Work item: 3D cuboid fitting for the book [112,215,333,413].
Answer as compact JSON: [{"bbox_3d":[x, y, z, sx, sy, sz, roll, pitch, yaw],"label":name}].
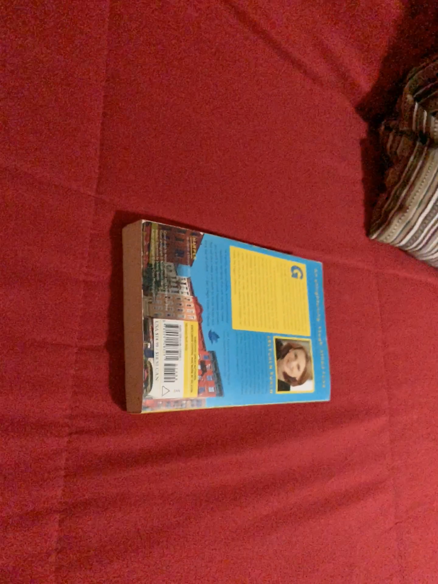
[{"bbox_3d":[0.014,0.027,0.374,0.203,0.033,0.133,10,73,-39],"label":"book"}]
